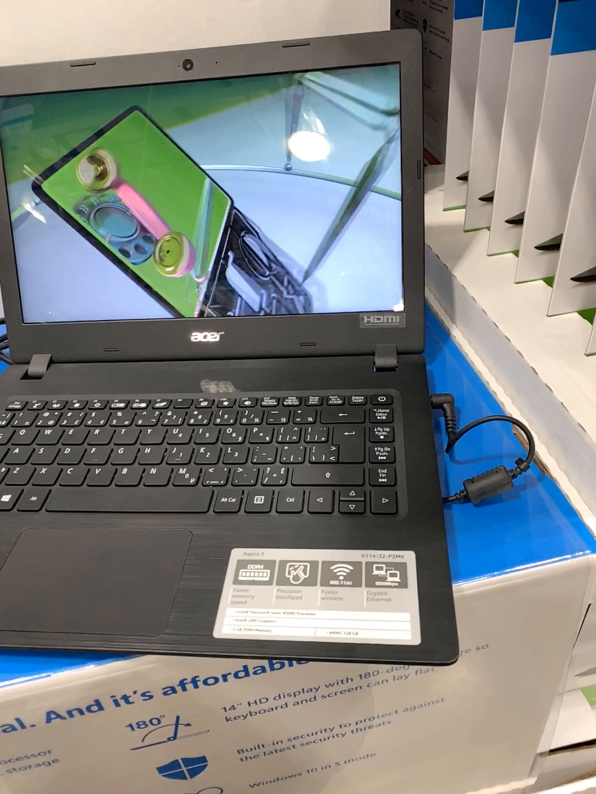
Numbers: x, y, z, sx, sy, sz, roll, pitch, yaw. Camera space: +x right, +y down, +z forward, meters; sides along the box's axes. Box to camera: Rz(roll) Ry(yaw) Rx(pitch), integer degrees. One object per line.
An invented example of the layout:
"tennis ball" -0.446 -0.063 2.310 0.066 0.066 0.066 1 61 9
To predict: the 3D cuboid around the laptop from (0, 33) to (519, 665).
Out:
"laptop" -0.082 -0.059 0.351 0.318 0.186 0.329 -1 39 8
